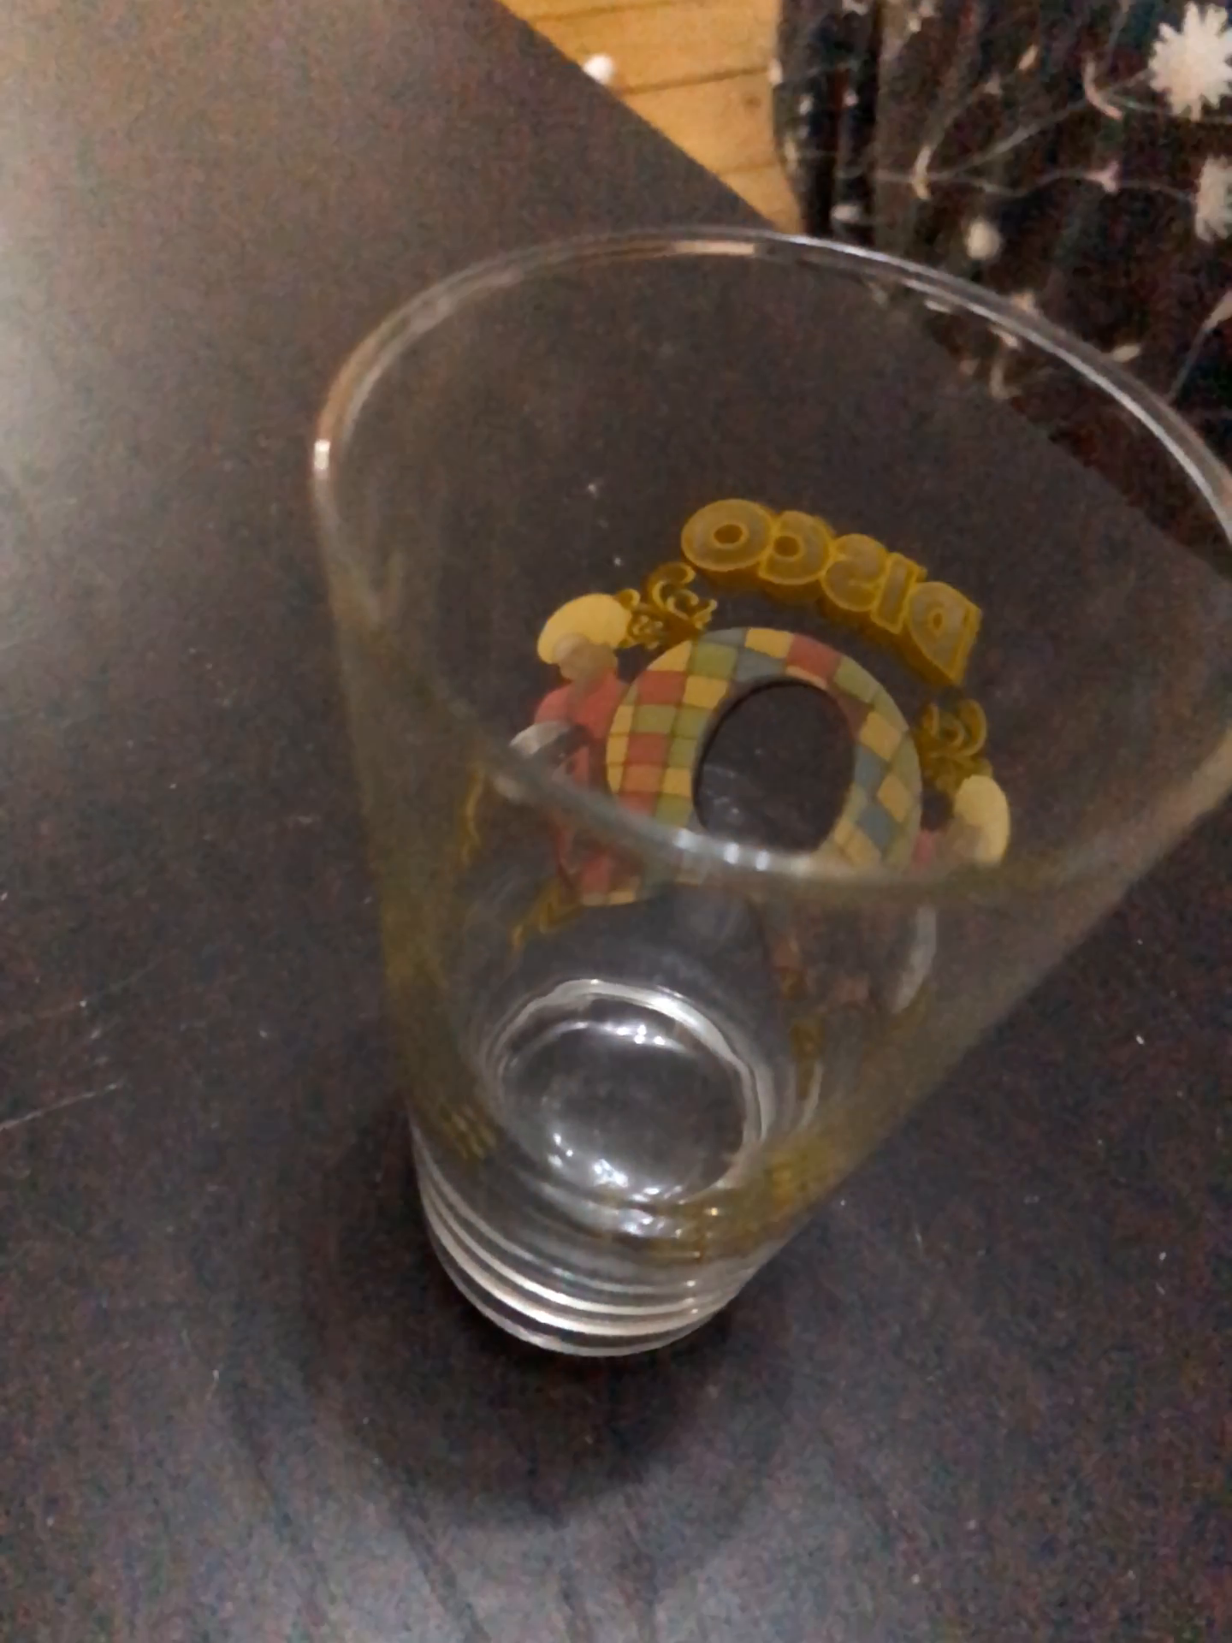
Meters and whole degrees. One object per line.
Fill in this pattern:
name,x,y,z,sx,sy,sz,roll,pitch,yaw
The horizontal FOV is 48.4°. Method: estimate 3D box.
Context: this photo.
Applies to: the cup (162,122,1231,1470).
cup,0.012,0.005,0.150,0.080,0.109,0.080,5,51,-6
